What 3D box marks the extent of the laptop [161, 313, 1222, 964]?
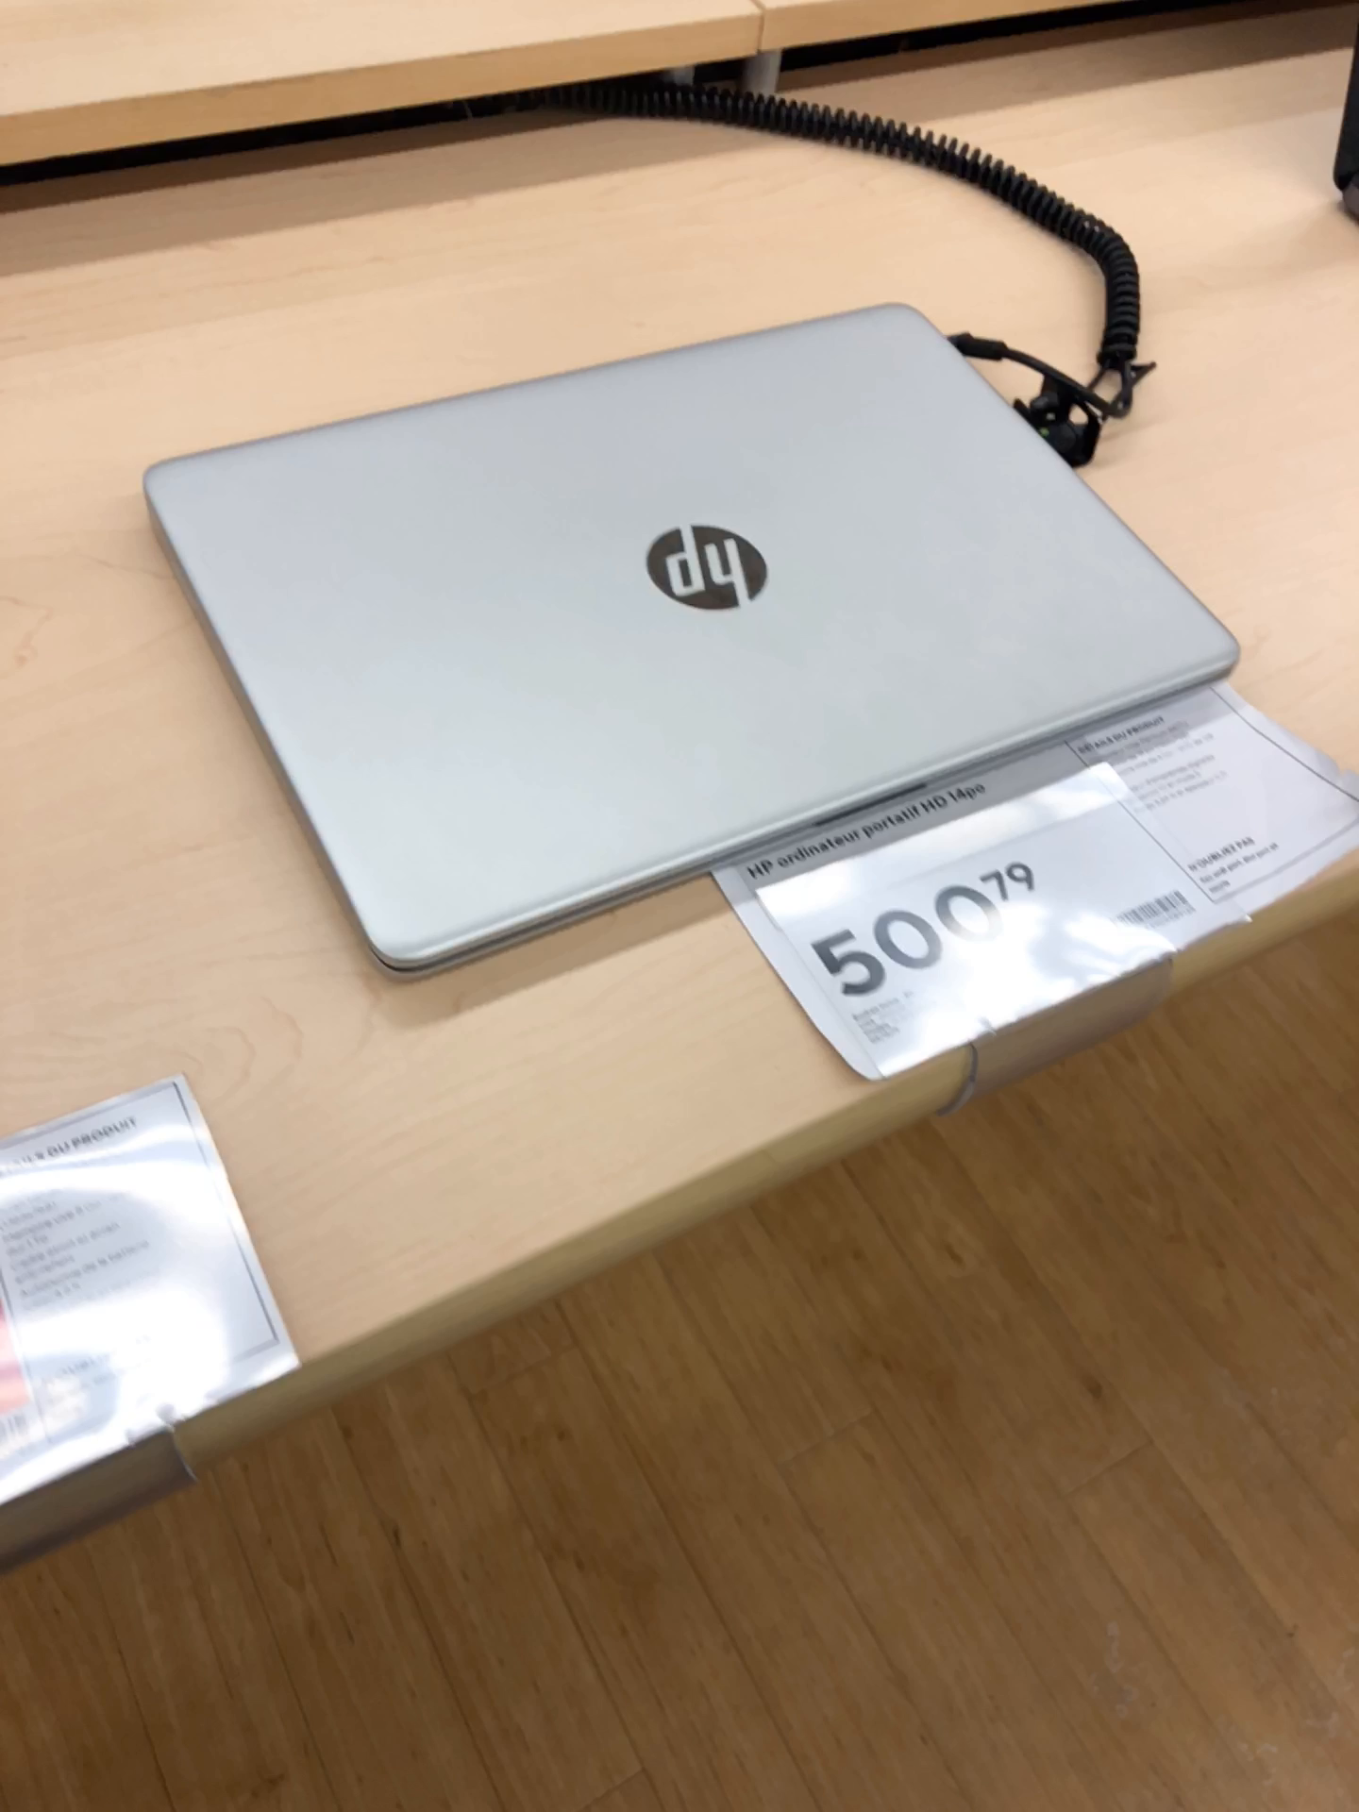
[{"bbox_3d":[0.010,-0.115,0.512,0.310,0.004,0.205,-21,61,-24],"label":"laptop"}]
